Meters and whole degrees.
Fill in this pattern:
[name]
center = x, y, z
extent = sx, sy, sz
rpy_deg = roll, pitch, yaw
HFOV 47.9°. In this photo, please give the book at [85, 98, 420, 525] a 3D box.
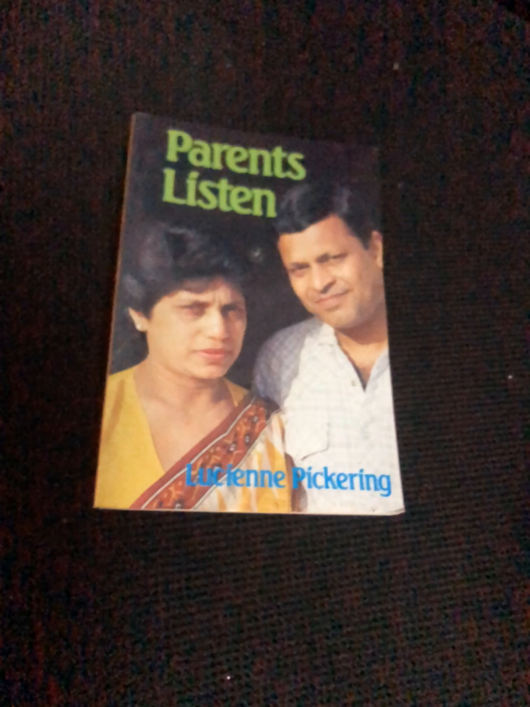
[book]
center = -0.002, -0.025, 0.265
extent = 0.130, 0.010, 0.191
rpy_deg = 5, 68, -12
